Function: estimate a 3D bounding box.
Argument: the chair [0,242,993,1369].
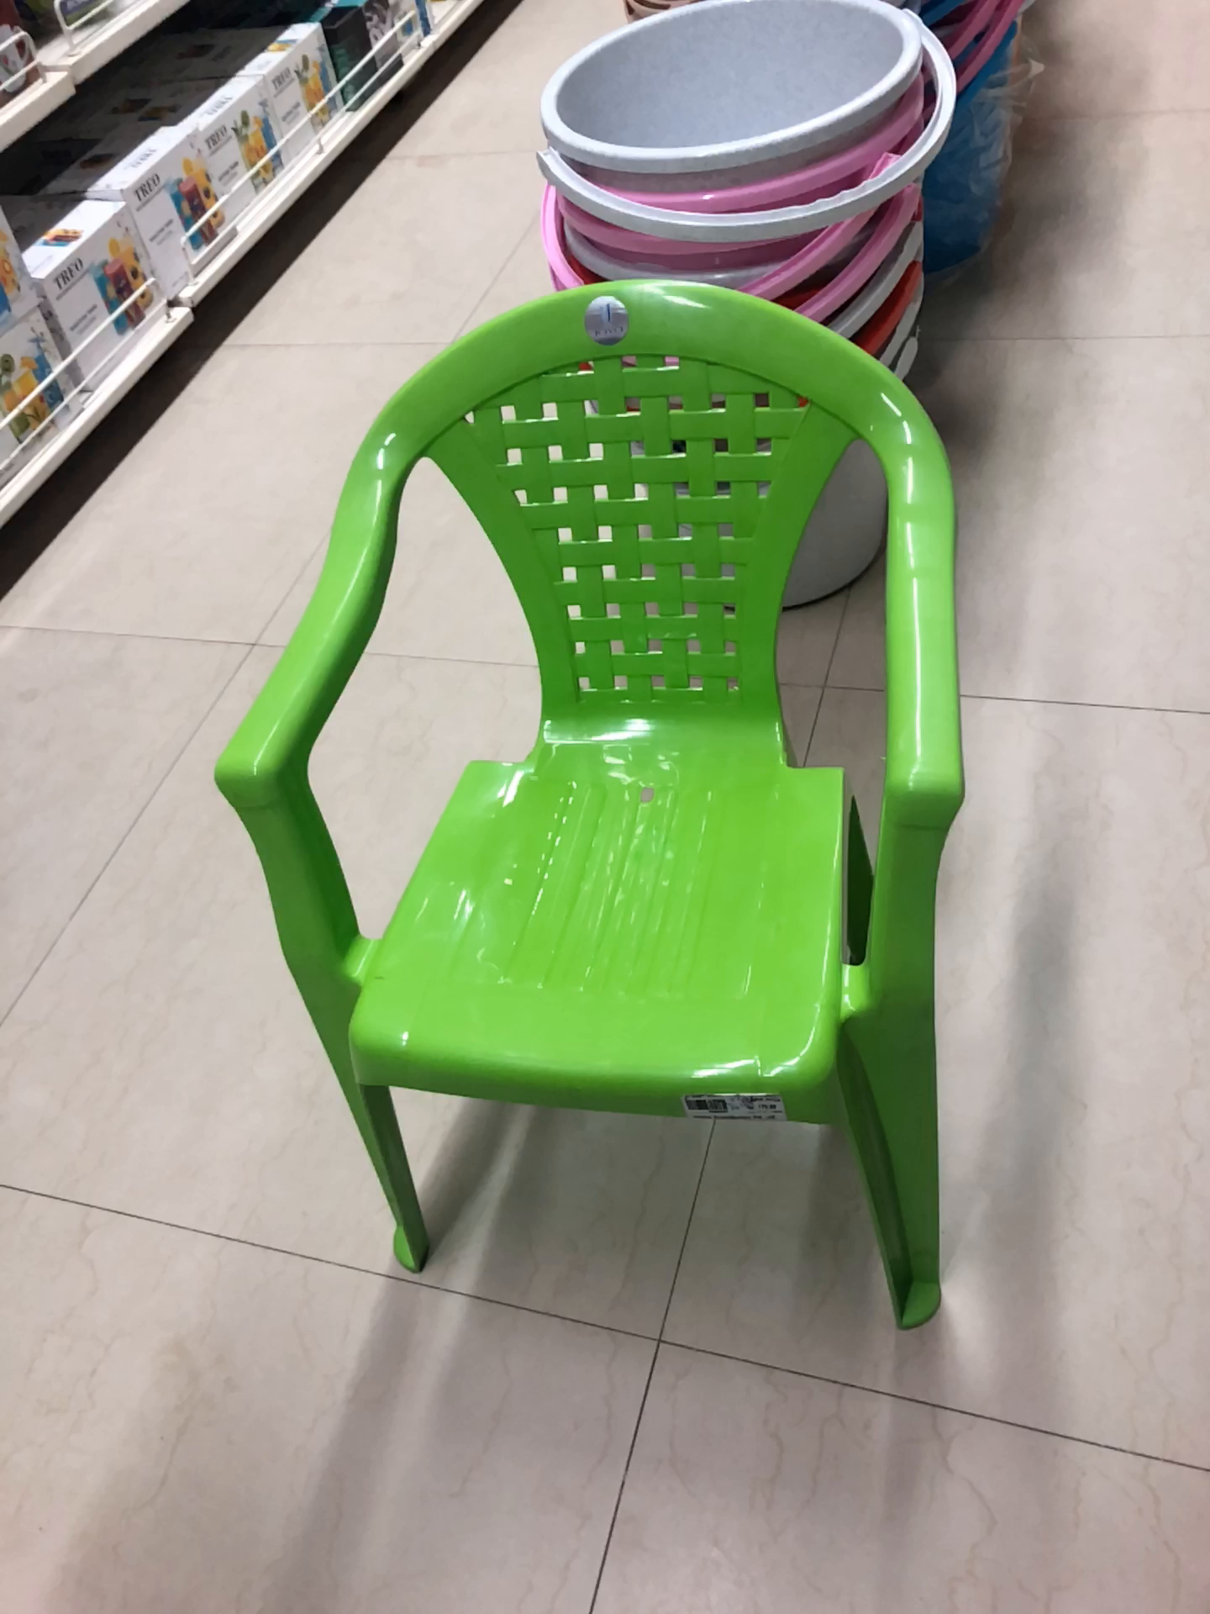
[{"bbox_3d":[0.011,0.029,0.727,0.360,0.517,0.312,3,49,15],"label":"chair"}]
